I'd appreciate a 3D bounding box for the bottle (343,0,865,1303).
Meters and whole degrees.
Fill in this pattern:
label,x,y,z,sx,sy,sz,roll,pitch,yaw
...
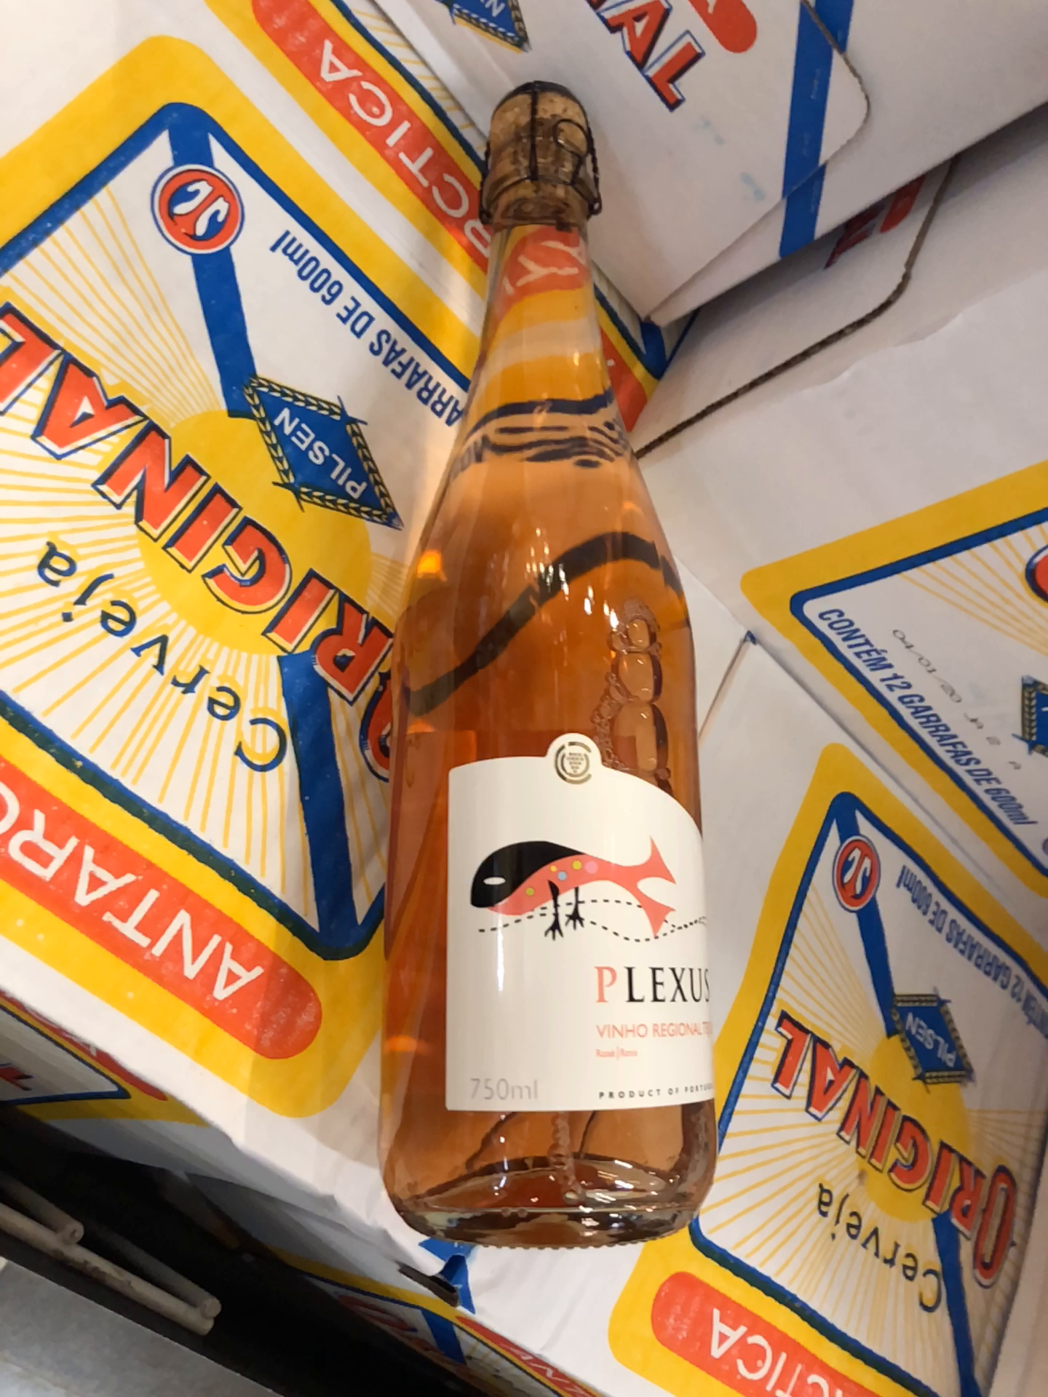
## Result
label,x,y,z,sx,sy,sz,roll,pitch,yaw
bottle,0.018,-0.023,0.290,0.090,0.070,0.290,10,73,-34
